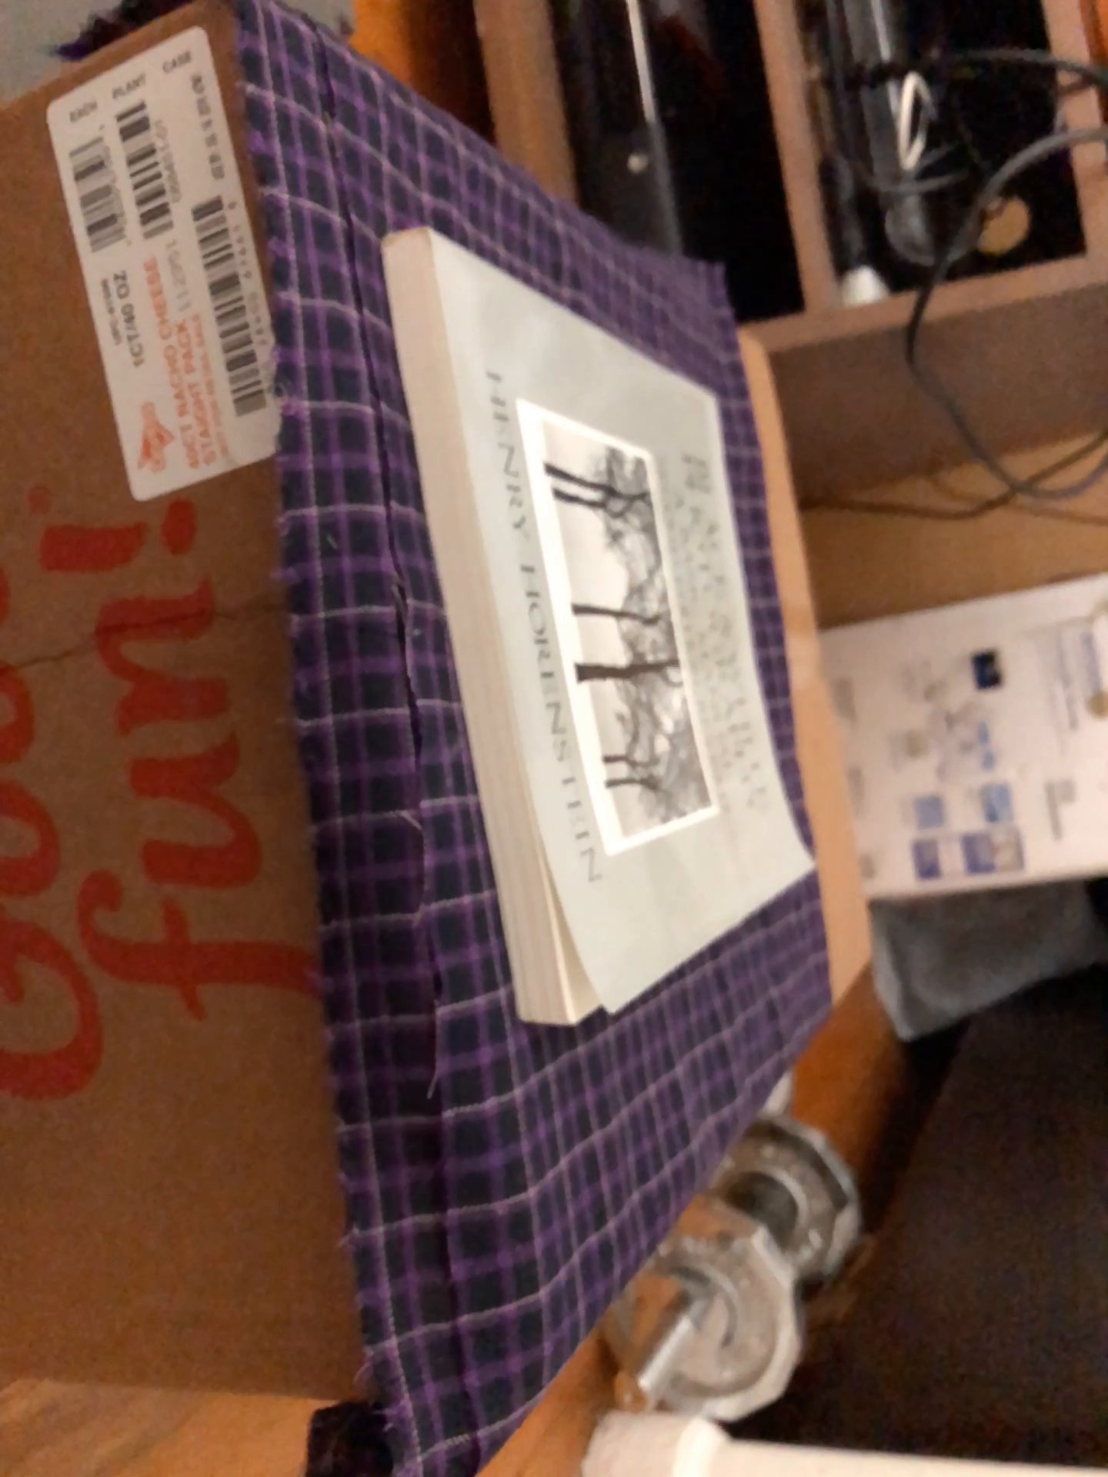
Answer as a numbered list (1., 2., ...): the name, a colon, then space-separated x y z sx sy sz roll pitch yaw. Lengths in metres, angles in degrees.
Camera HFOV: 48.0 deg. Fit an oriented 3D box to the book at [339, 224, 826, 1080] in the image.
1. book: 0.030 -0.028 0.422 0.251 0.030 0.210 -8 88 -64
